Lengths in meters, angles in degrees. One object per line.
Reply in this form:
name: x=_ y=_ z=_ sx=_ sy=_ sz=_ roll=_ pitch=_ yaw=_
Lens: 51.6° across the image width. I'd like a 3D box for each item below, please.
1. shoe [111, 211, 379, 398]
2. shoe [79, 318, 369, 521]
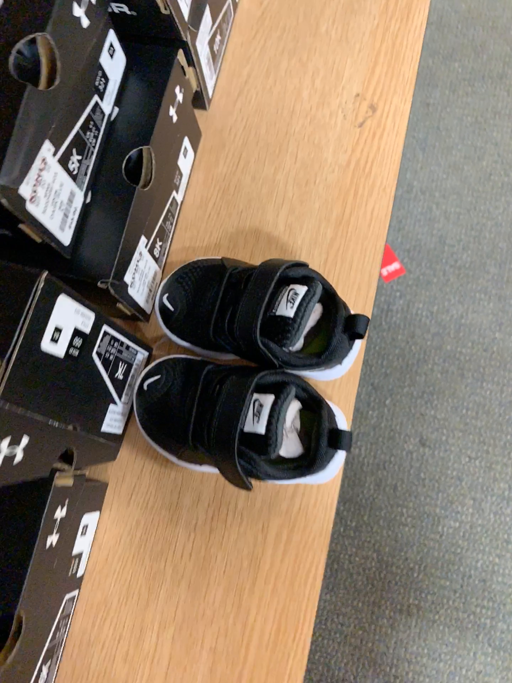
shoe: x=-0.004 y=-0.021 z=0.332 sx=0.140 sy=0.060 sz=0.070 roll=15 pitch=79 yaw=9
shoe: x=-0.015 y=0.045 z=0.309 sx=0.140 sy=0.060 sz=0.070 roll=15 pitch=79 yaw=9
